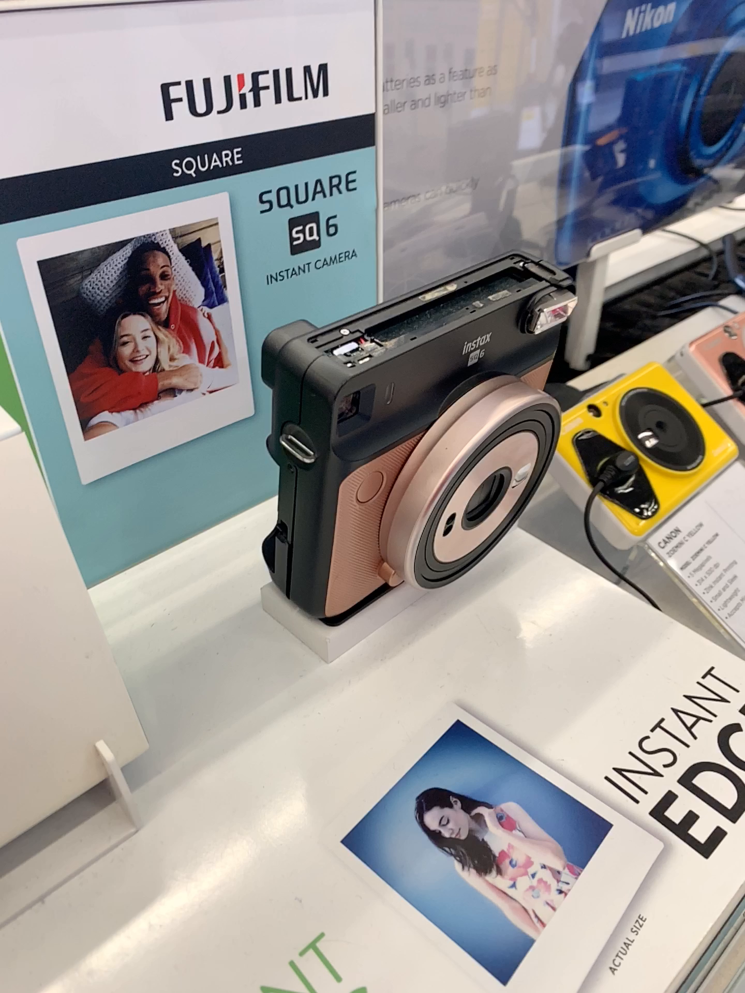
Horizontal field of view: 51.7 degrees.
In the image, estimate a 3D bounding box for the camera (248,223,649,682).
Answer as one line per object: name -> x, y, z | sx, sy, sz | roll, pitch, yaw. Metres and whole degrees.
camera -> 0.025, -0.020, 0.290 | 0.060, 0.119, 0.131 | 37, 48, 27
